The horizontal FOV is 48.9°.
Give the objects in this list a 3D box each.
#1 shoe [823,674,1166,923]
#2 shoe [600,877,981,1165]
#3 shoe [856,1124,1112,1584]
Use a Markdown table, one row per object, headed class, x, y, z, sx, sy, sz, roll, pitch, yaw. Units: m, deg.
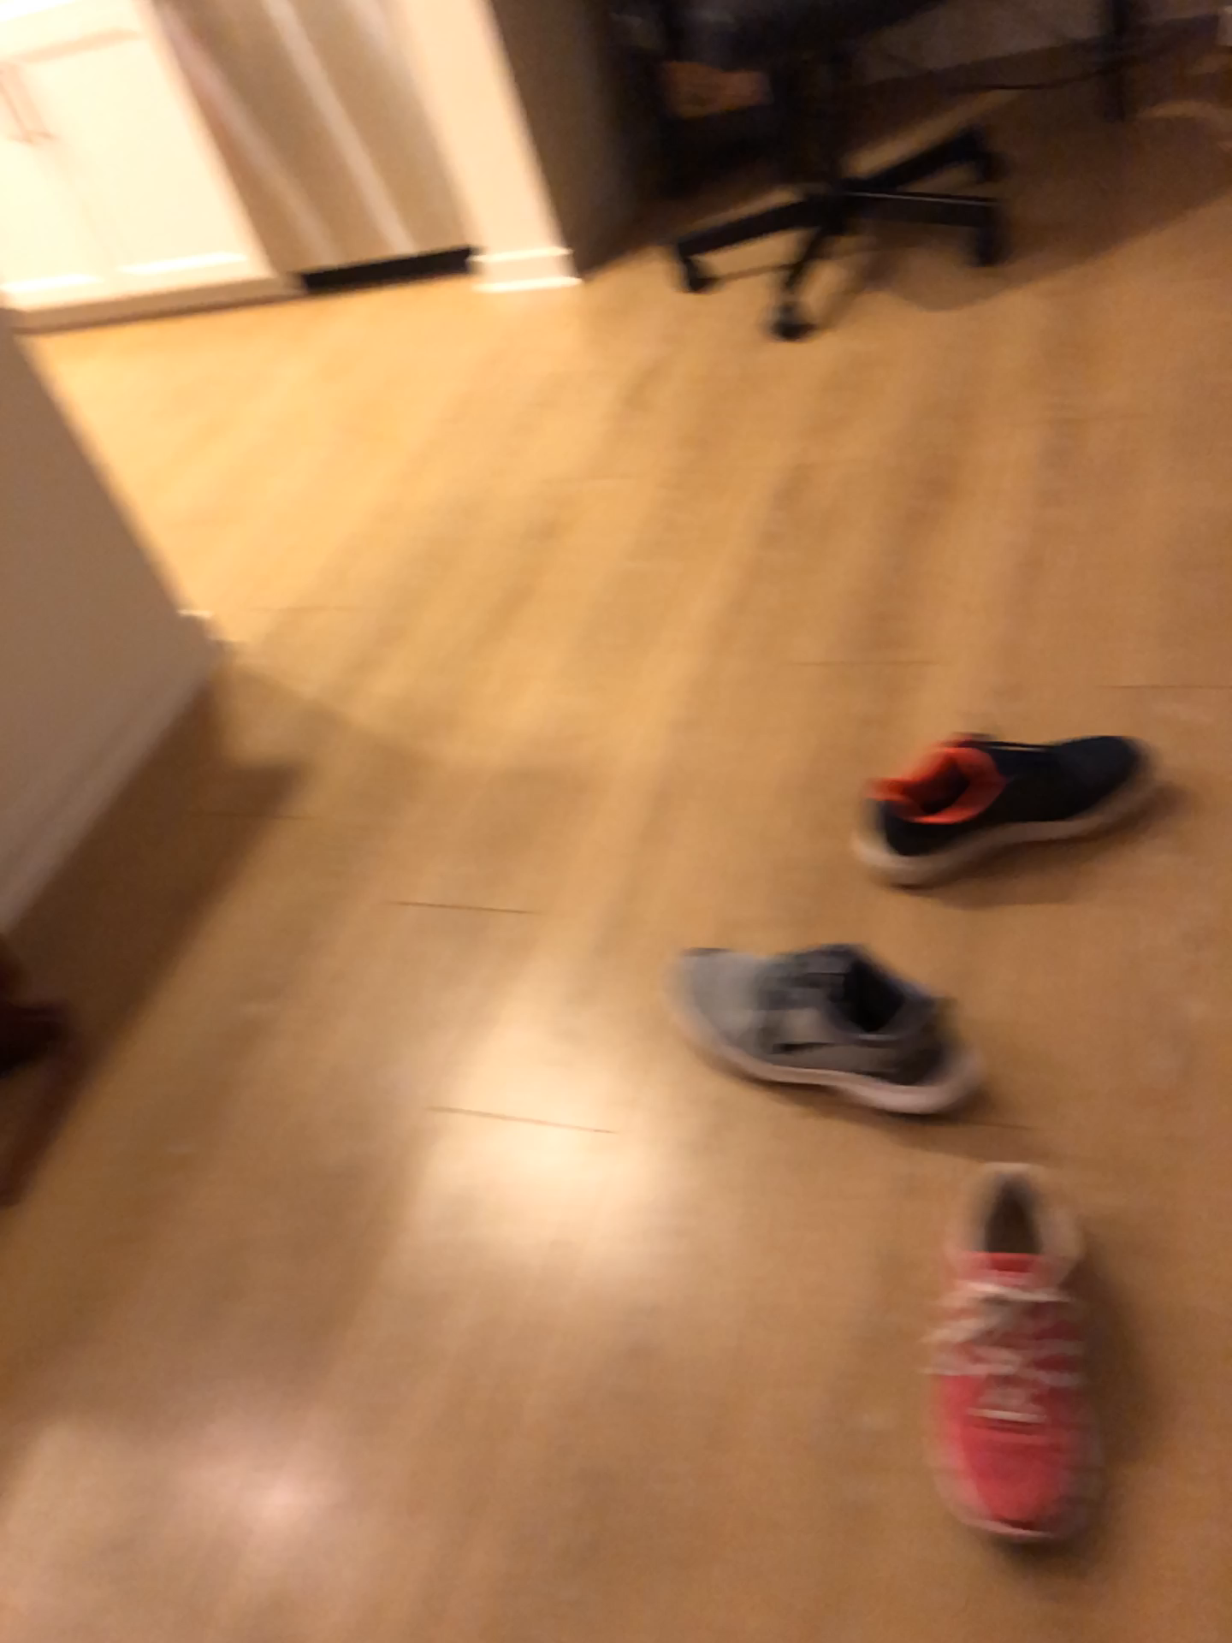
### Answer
| class | x | y | z | sx | sy | sz | roll | pitch | yaw |
| --- | --- | --- | --- | --- | --- | --- | --- | --- | --- |
| shoe | 0.381 | -0.025 | 1.375 | 0.300 | 0.100 | 0.131 | -20 | 41 | 1 |
| shoe | 0.156 | 0.173 | 1.235 | 0.306 | 0.110 | 0.130 | 17 | 53 | 36 |
| shoe | 0.277 | 0.373 | 0.989 | 0.140 | 0.090 | 0.281 | 1 | 45 | 24 |
